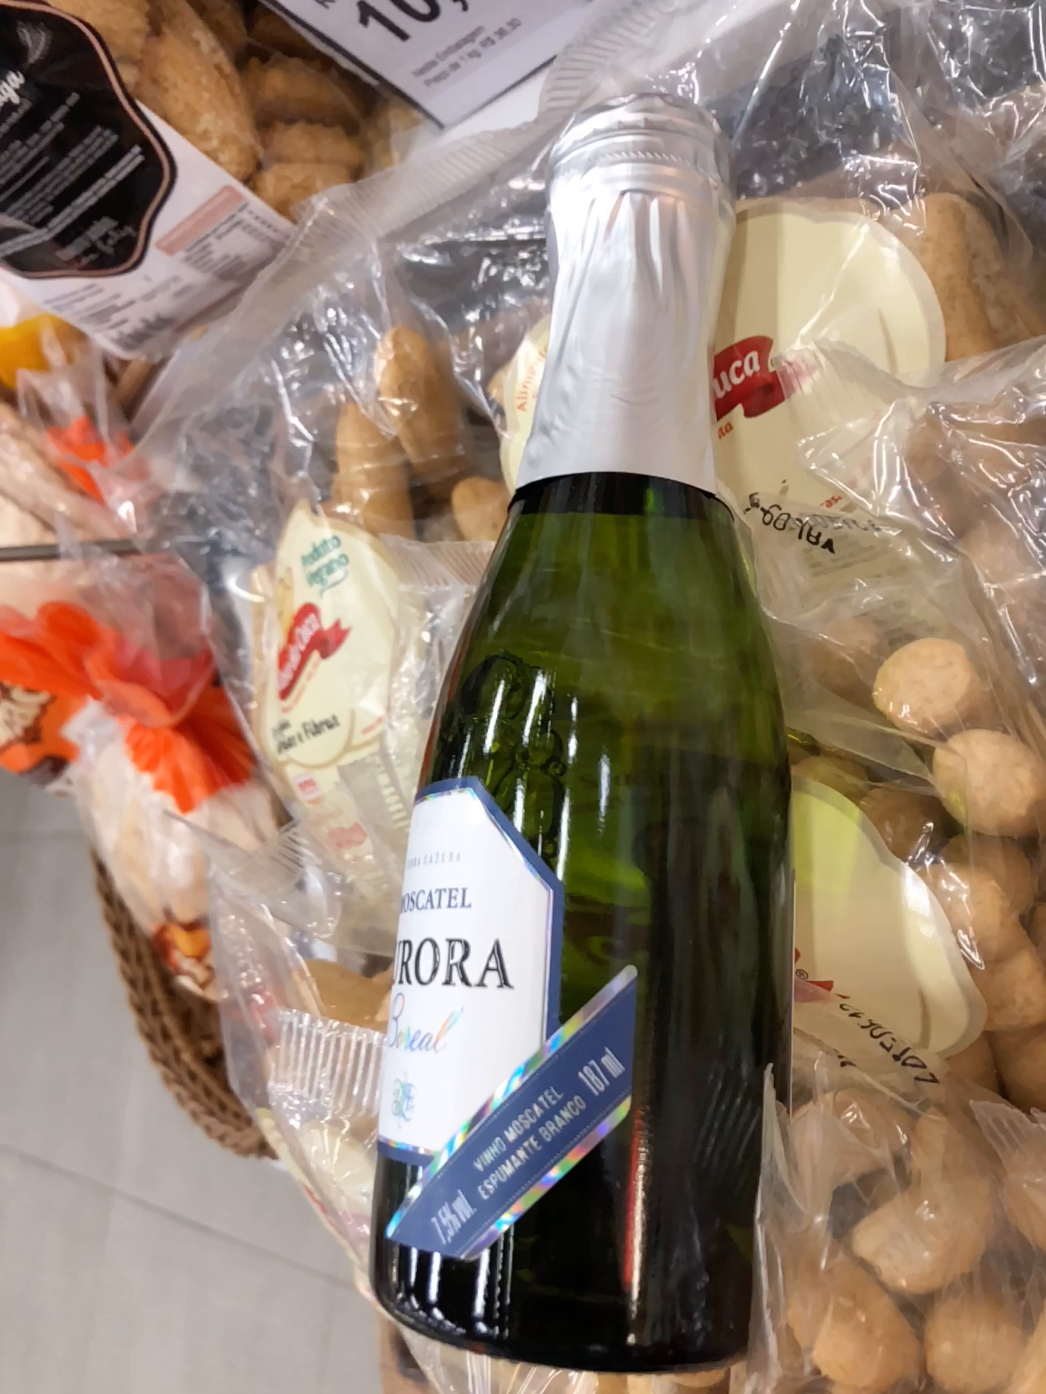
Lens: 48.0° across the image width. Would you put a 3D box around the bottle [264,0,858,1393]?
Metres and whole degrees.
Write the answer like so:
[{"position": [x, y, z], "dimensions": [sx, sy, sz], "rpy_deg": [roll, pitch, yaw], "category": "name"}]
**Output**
[{"position": [0.009, -0.003, 0.171], "dimensions": [0.060, 0.050, 0.200], "rpy_deg": [-6, 77, 42], "category": "bottle"}]
